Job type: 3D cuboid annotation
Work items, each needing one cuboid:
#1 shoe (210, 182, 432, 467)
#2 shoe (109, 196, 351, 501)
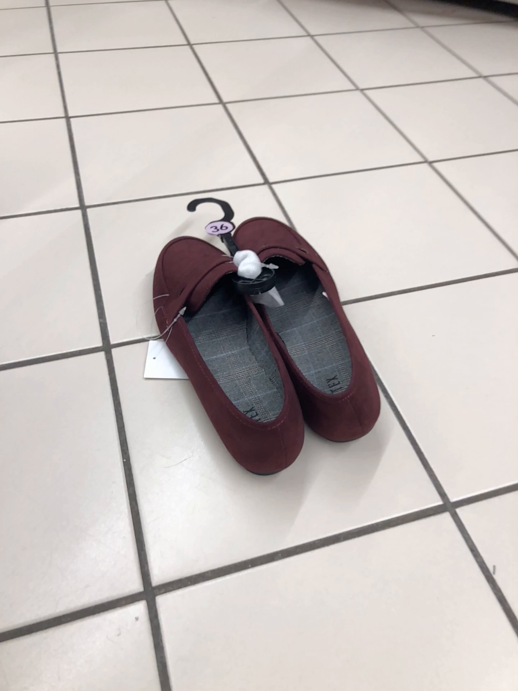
[{"bbox_3d":[0.031,-0.032,0.442,0.079,0.057,0.240,-12,50,-15],"label":"shoe"},{"bbox_3d":[-0.034,-0.015,0.420,0.079,0.056,0.240,-18,52,-20],"label":"shoe"}]
